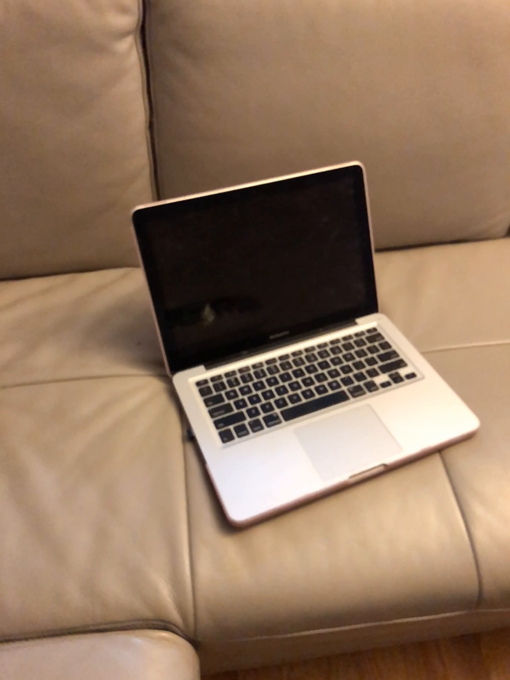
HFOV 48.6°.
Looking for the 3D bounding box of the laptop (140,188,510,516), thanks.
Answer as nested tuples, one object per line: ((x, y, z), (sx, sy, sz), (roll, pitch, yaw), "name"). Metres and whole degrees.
((0.064, -0.011, 0.658), (0.305, 0.177, 0.307), (-16, 44, -16), "laptop")
